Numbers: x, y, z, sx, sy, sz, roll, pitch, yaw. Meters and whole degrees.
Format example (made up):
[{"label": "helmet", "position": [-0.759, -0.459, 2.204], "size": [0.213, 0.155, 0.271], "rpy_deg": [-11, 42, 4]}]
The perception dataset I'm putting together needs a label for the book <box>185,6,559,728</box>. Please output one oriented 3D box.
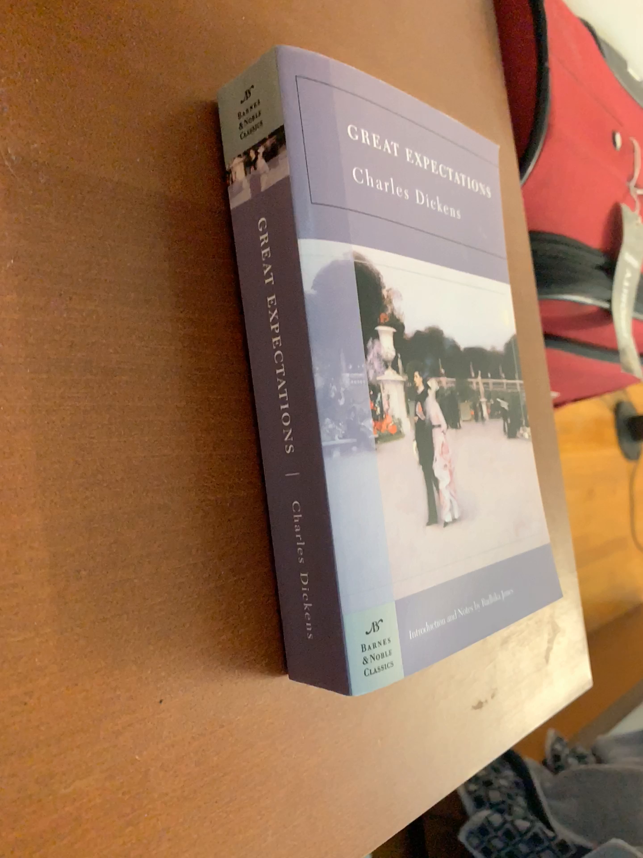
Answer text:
[{"label": "book", "position": [0.029, -0.021, 0.250], "size": [0.141, 0.040, 0.200], "rpy_deg": [-4, 87, -48]}]
